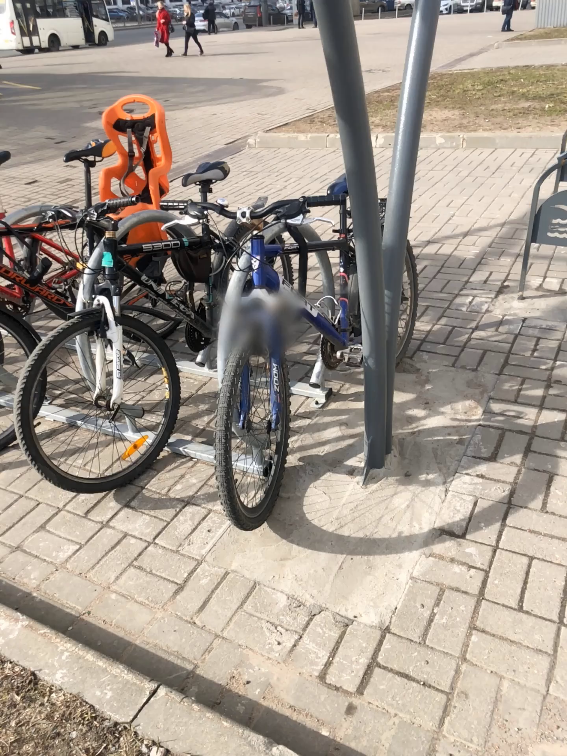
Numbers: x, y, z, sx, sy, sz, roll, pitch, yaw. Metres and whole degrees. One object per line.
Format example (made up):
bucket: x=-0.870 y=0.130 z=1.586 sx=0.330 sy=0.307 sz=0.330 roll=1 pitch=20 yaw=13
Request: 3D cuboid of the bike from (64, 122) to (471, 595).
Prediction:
bike: x=0.137 y=-0.279 z=2.224 sx=0.627 sy=0.959 sz=1.666 roll=12 pitch=33 yaw=25
